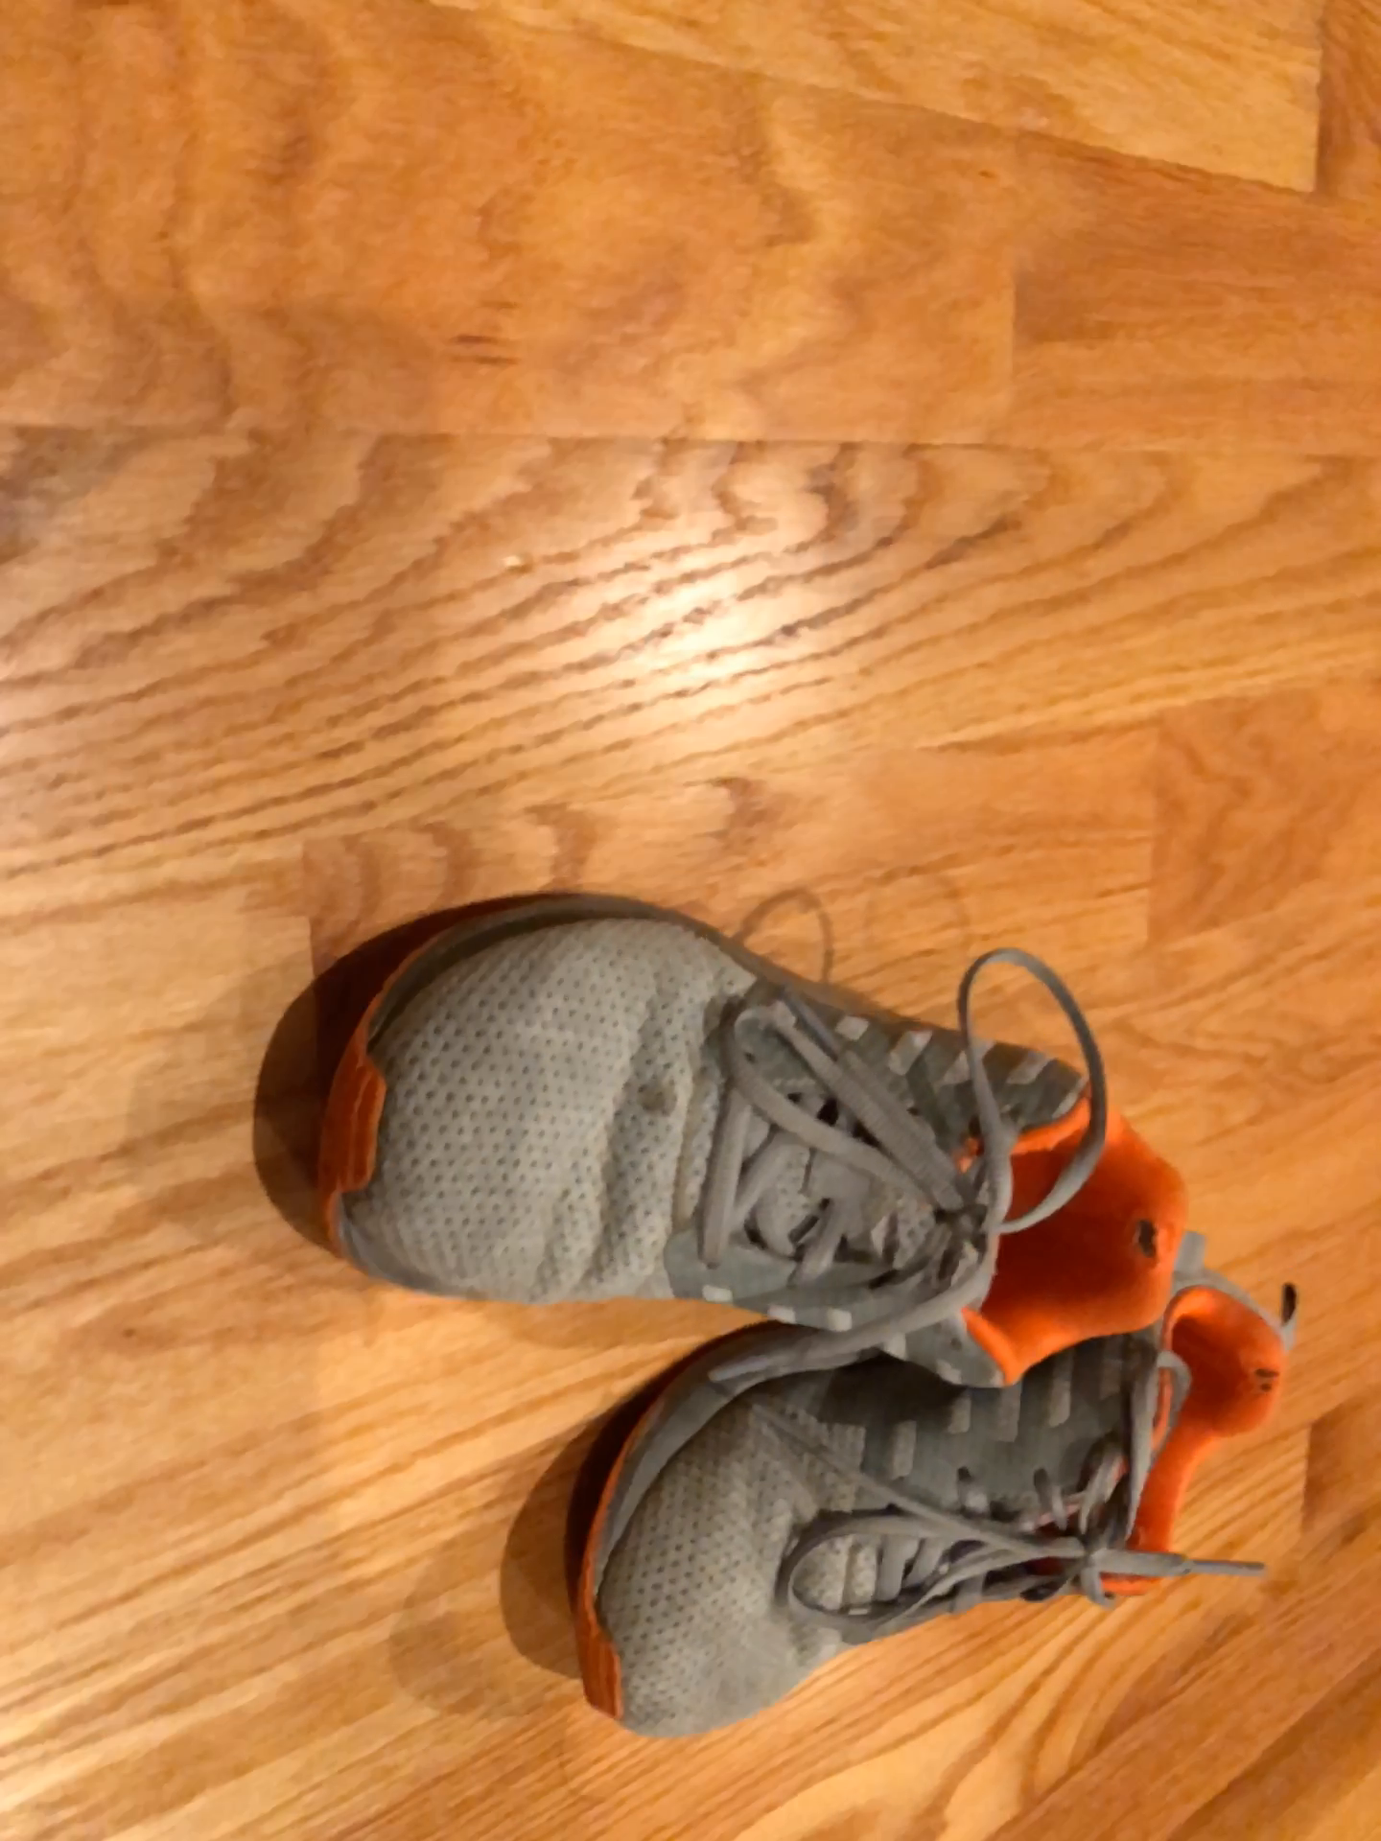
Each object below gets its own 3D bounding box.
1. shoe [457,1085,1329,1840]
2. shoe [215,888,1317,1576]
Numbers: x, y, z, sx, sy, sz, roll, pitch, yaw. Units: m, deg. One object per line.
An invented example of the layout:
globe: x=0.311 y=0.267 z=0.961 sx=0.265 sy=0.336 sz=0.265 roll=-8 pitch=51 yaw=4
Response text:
shoe: x=0.072 y=0.149 z=0.426 sx=0.251 sy=0.080 sz=0.110 roll=-20 pitch=113 yaw=-35
shoe: x=0.033 y=0.064 z=0.371 sx=0.251 sy=0.100 sz=0.100 roll=8 pitch=95 yaw=-41
